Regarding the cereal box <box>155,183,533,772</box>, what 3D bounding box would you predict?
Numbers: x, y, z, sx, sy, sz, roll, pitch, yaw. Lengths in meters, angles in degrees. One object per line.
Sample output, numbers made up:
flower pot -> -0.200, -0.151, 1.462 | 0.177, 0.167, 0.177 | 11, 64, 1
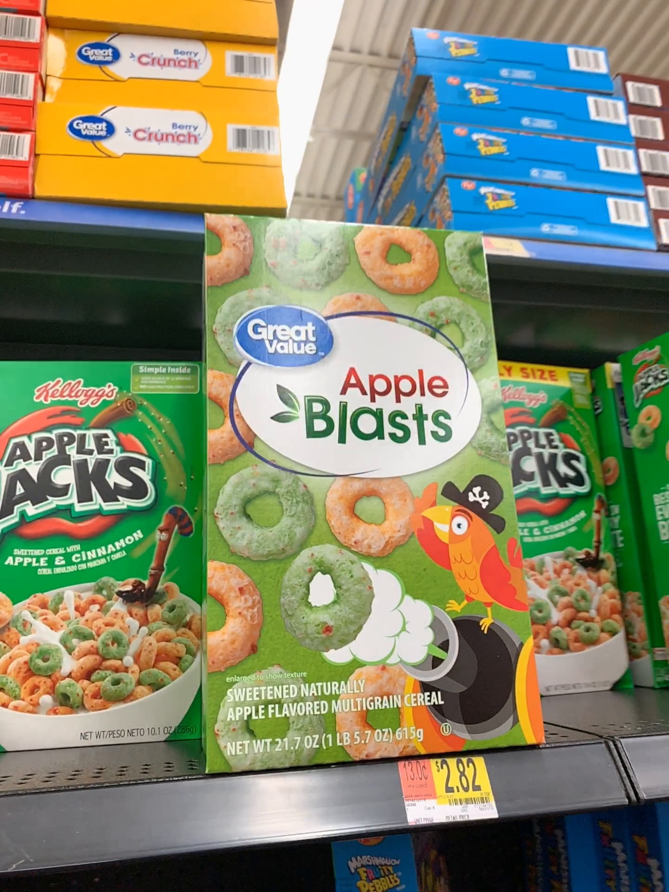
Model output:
cereal box -> -0.008, 0.013, 0.448 | 0.200, 0.331, 0.100 | 1, -16, -13
